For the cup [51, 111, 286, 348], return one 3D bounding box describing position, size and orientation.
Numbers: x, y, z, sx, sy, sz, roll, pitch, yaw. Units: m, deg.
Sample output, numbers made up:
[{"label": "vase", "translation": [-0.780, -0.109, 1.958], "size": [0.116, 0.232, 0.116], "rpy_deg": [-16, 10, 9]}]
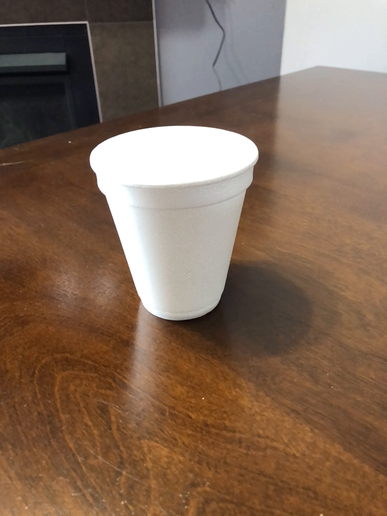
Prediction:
[{"label": "cup", "translation": [-0.007, -0.021, 0.222], "size": [0.080, 0.080, 0.080], "rpy_deg": [-1, 32, 1]}]
